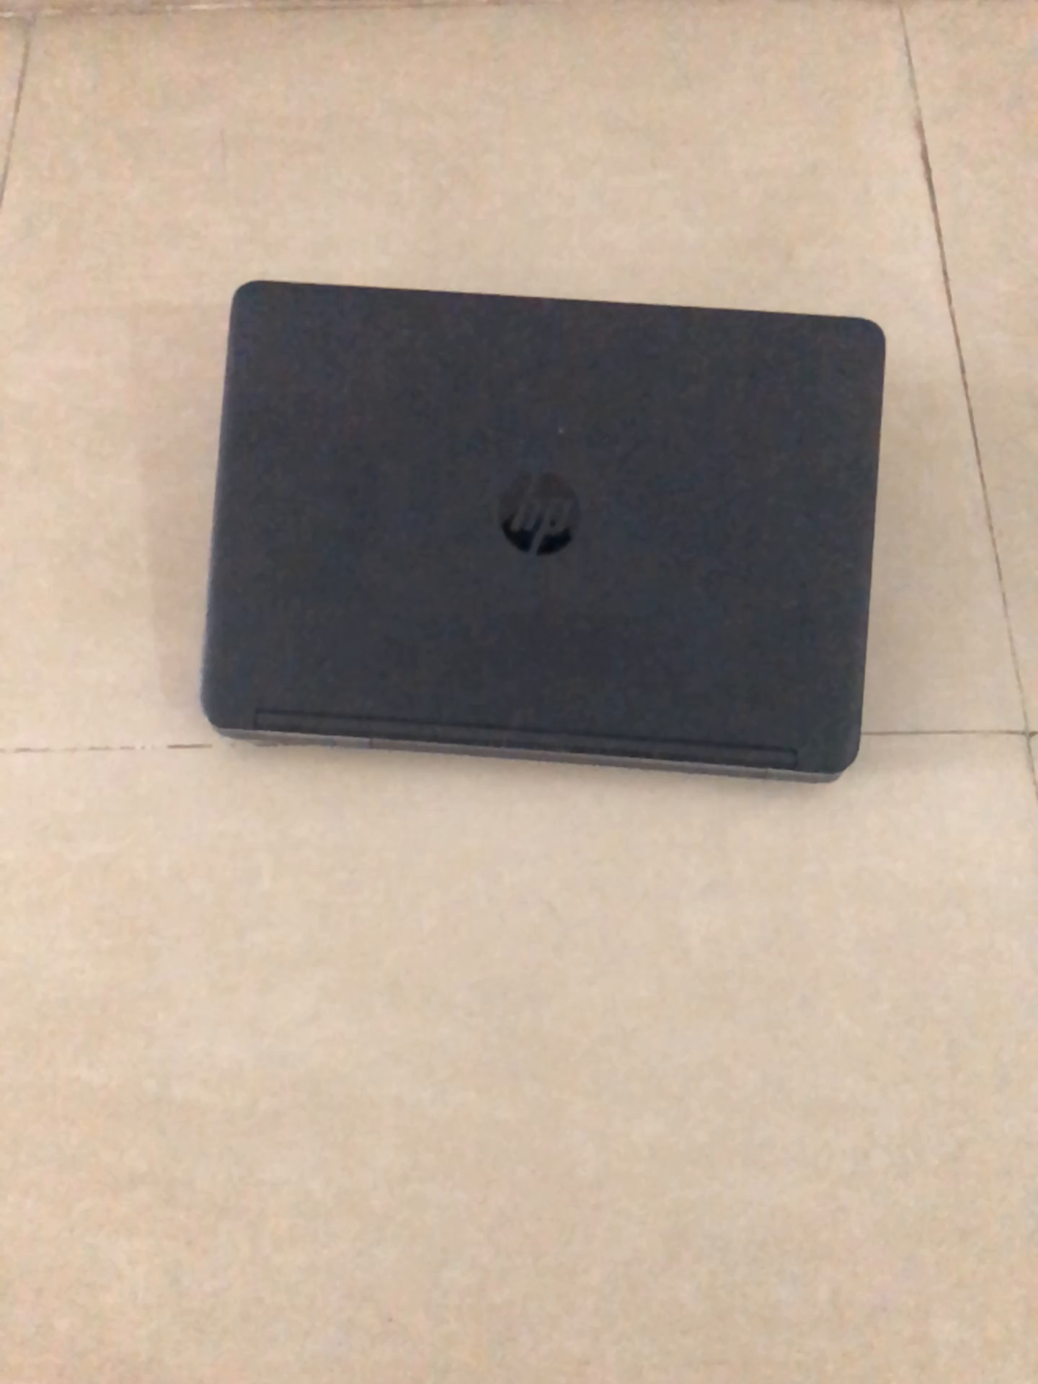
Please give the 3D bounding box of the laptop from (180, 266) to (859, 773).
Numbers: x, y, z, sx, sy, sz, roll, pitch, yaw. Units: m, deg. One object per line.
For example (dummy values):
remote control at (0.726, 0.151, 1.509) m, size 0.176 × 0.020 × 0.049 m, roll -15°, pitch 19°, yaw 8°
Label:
laptop at (0.008, -0.087, 0.582) m, size 0.304 × 0.085 × 0.215 m, roll 4°, pitch 73°, yaw 2°
